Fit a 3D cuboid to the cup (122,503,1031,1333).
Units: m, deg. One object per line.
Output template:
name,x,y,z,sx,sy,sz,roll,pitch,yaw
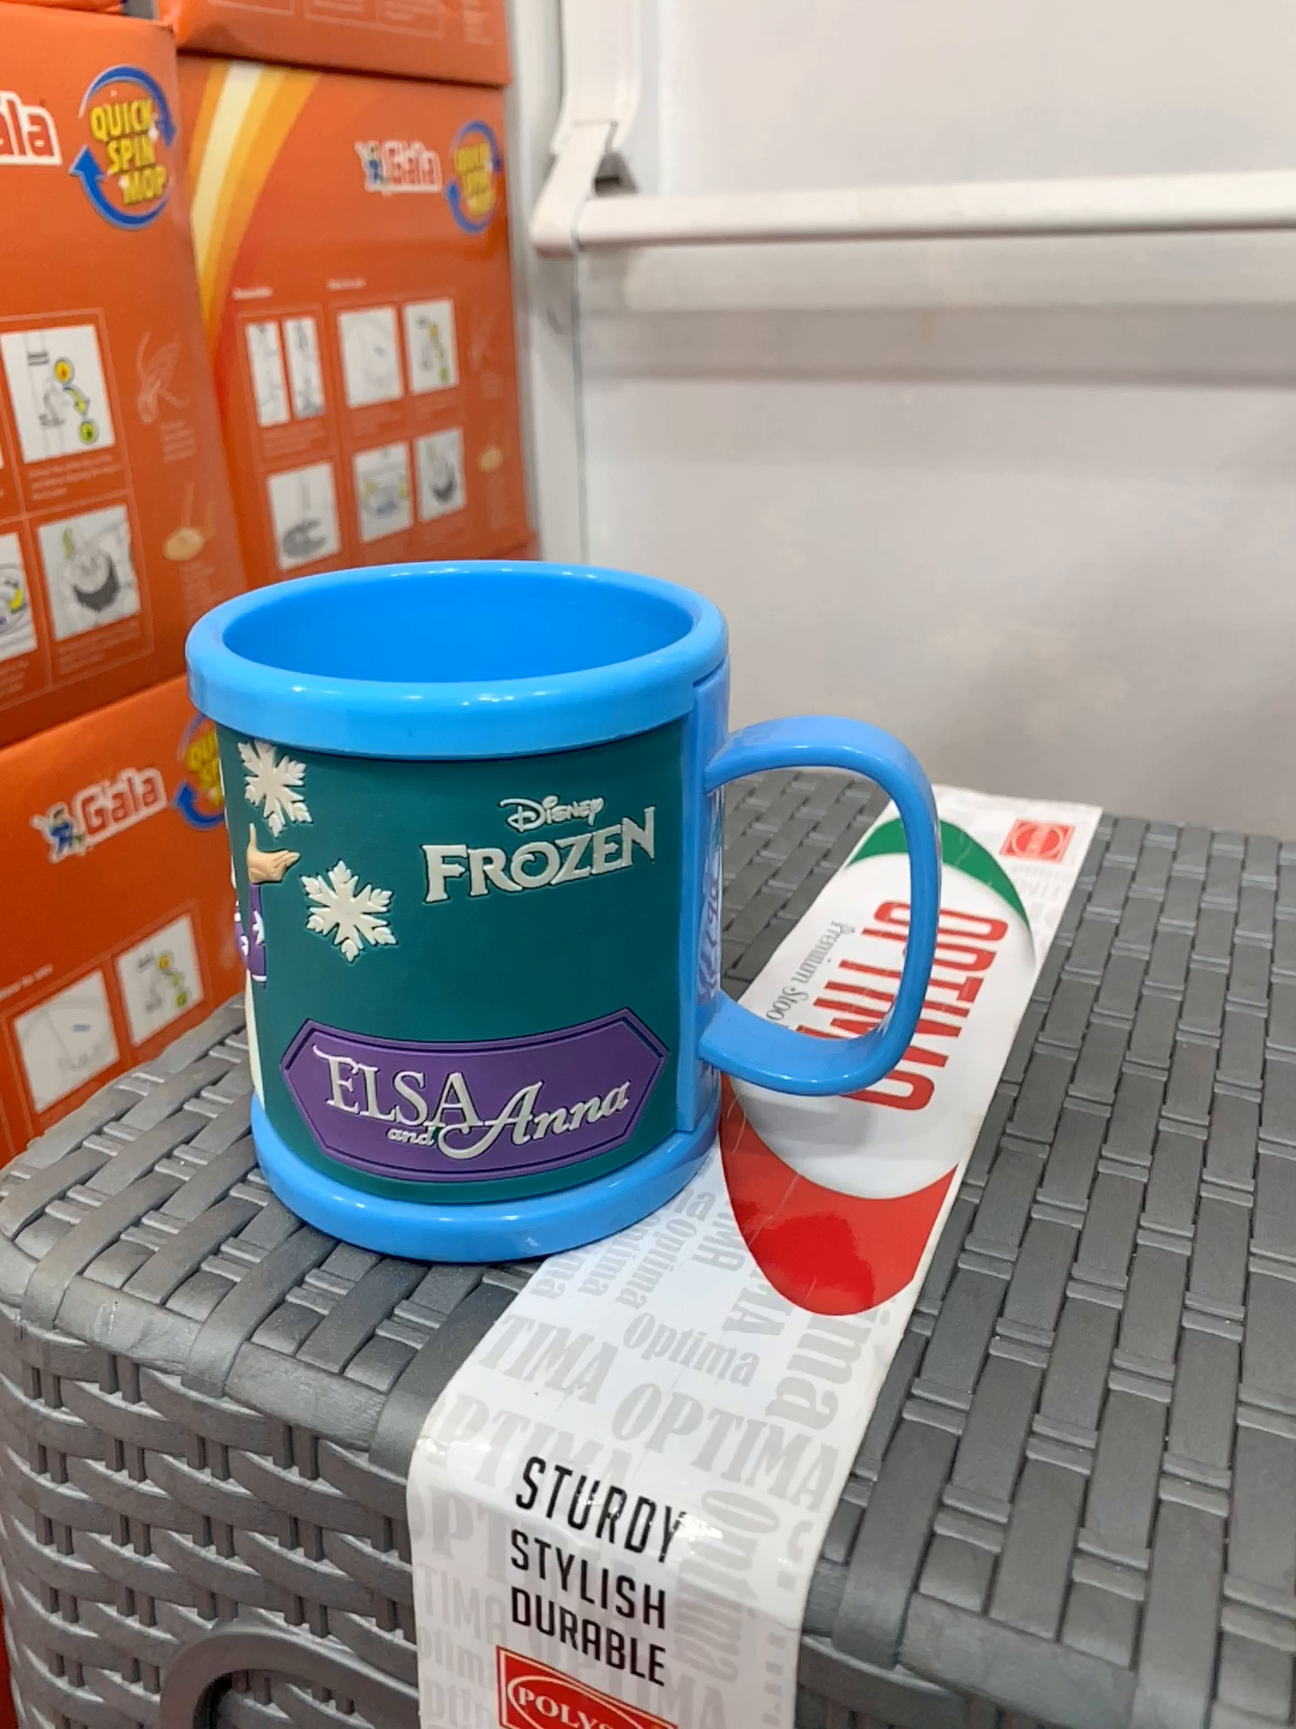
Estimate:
cup,-0.003,0.000,0.215,0.110,0.099,0.081,3,24,10
